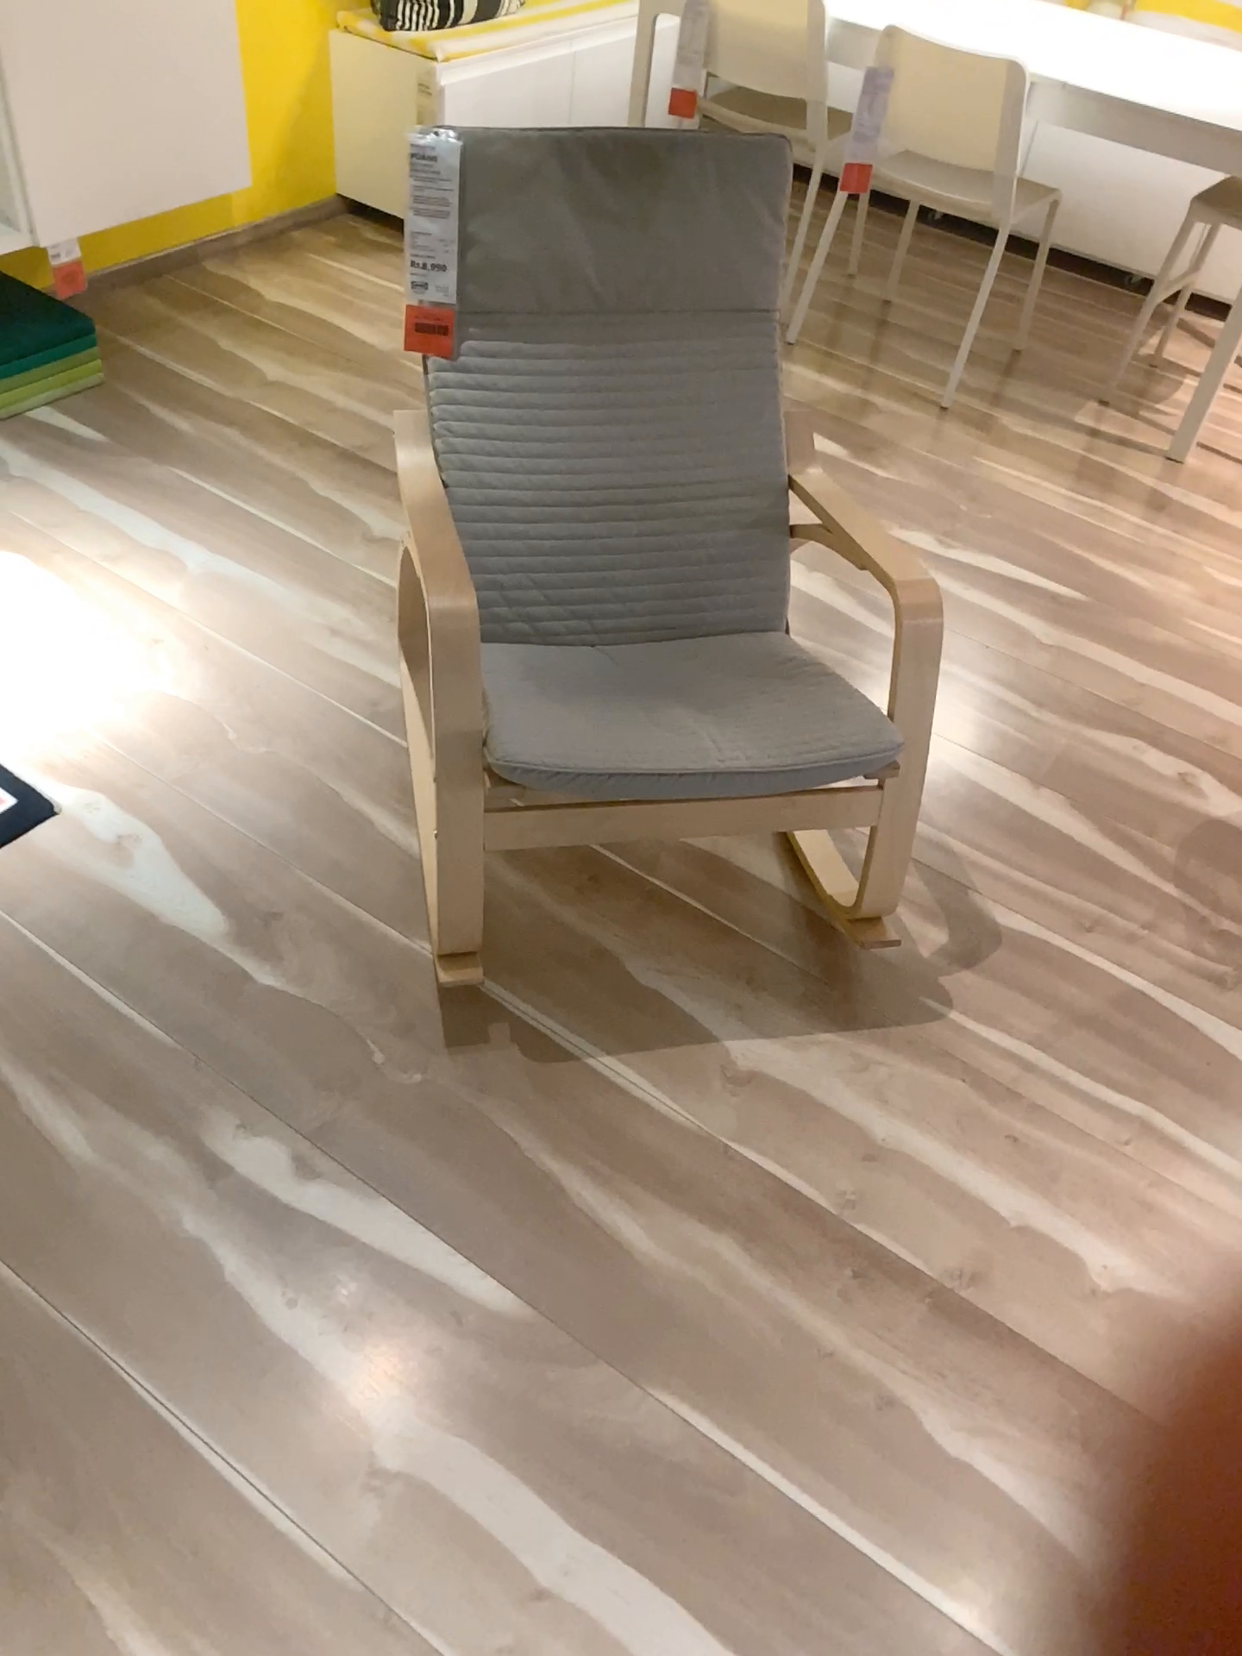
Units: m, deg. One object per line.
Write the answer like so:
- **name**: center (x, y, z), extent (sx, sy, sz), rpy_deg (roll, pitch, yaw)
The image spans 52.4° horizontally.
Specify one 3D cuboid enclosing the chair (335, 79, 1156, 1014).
- **chair**: center (0.031, -0.355, 1.685), extent (0.730, 0.916, 0.723), rpy_deg (-4, 46, -13)
